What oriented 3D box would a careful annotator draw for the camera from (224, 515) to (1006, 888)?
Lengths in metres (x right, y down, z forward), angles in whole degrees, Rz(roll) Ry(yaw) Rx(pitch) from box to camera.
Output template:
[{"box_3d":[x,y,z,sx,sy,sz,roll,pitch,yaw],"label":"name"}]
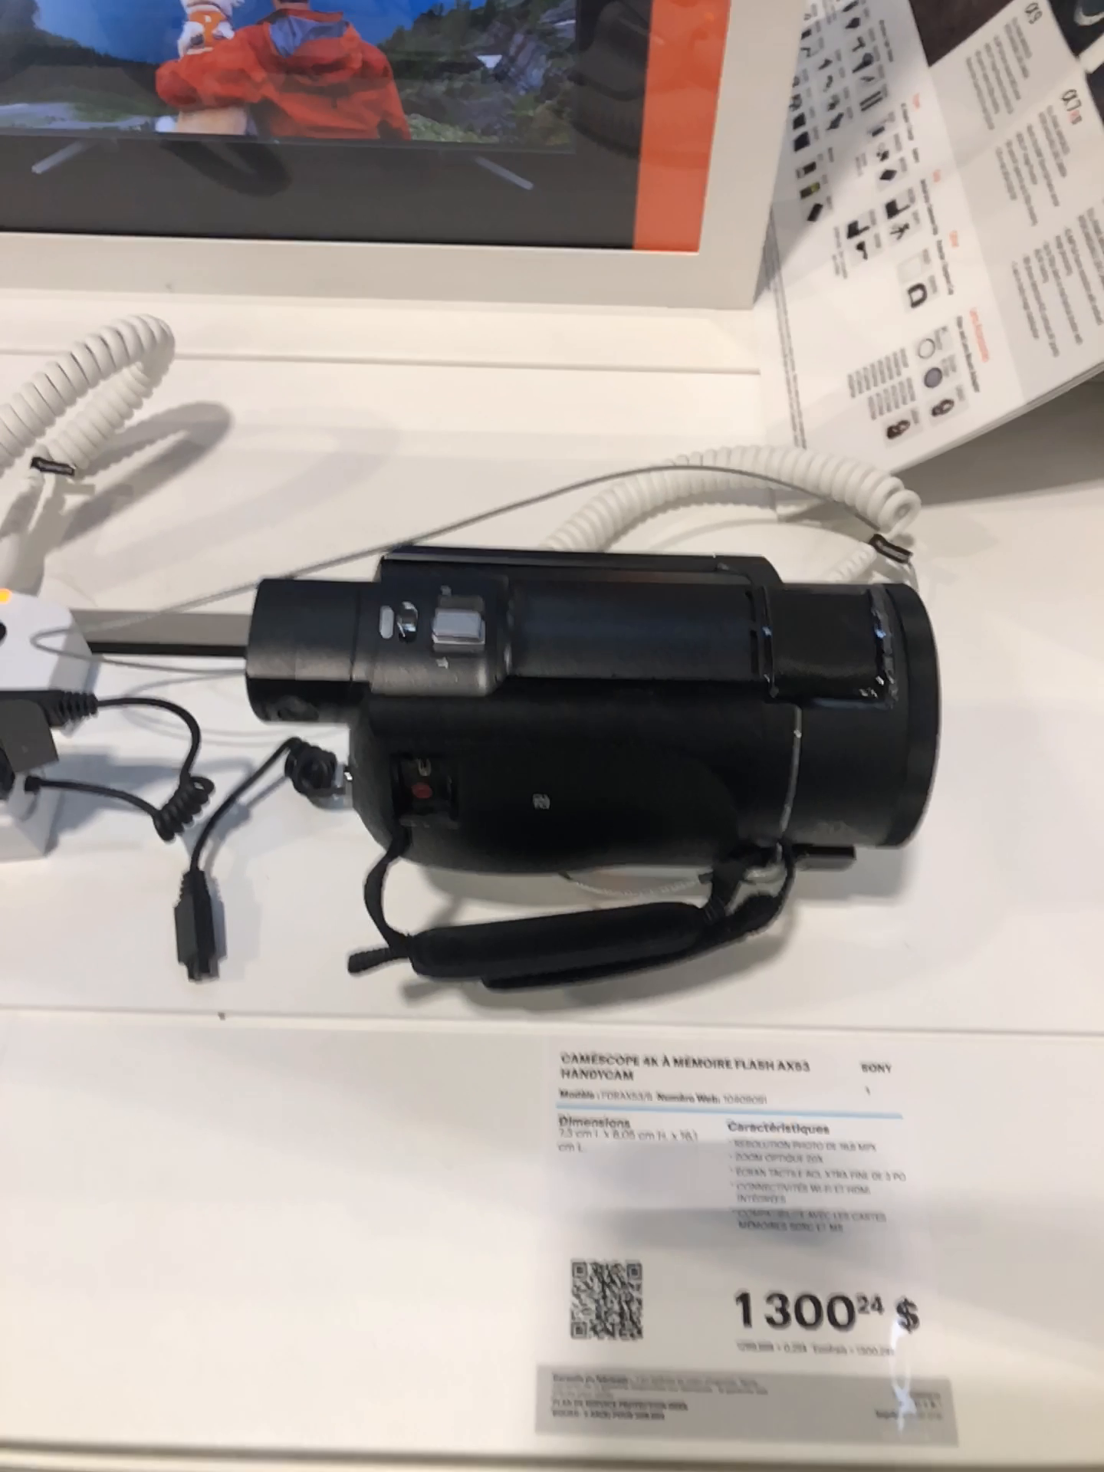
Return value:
[{"box_3d":[0.014,-0.007,0.307,0.168,0.066,0.061,2,55,0],"label":"camera"}]
